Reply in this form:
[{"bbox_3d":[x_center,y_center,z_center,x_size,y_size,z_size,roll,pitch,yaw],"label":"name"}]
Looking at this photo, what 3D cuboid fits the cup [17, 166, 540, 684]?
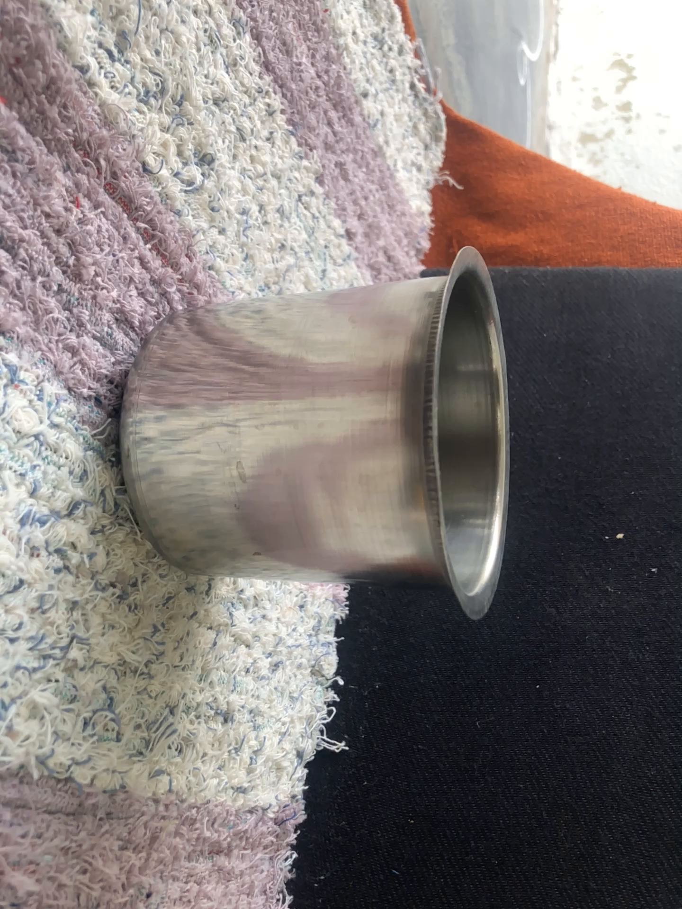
[{"bbox_3d":[-0.003,-0.005,0.226,0.100,0.099,0.100,0,90,-67],"label":"cup"}]
